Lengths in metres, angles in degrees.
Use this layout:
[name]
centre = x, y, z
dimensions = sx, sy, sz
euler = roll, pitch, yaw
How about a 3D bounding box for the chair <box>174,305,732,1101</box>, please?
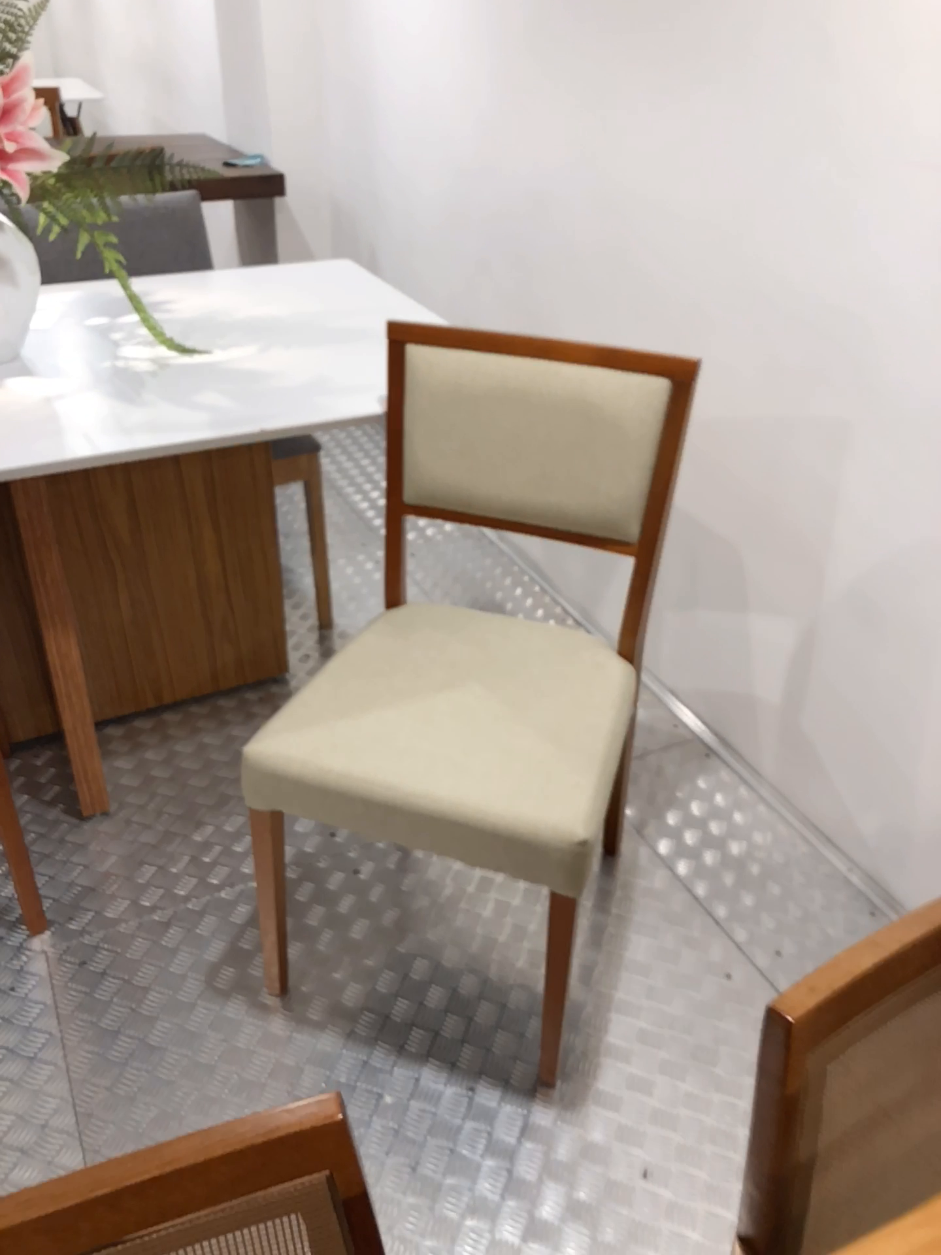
[chair]
centre = 0.015, 0.080, 1.553
dimensions = 0.521, 0.892, 0.625
euler = 12, 34, 16
